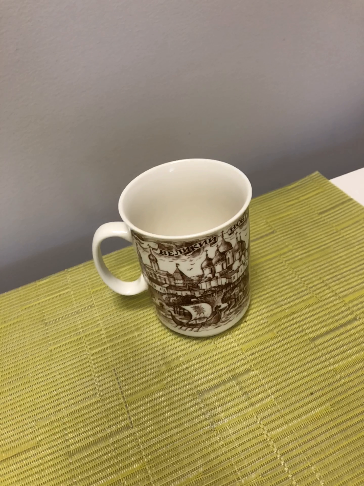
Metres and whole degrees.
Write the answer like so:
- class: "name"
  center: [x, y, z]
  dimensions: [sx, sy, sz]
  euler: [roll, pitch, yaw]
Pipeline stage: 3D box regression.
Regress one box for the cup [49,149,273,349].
- class: "cup"
  center: [-0.006, 0.005, 0.287]
  dimensions: [0.124, 0.092, 0.095]
  euler: [-4, 42, 7]
